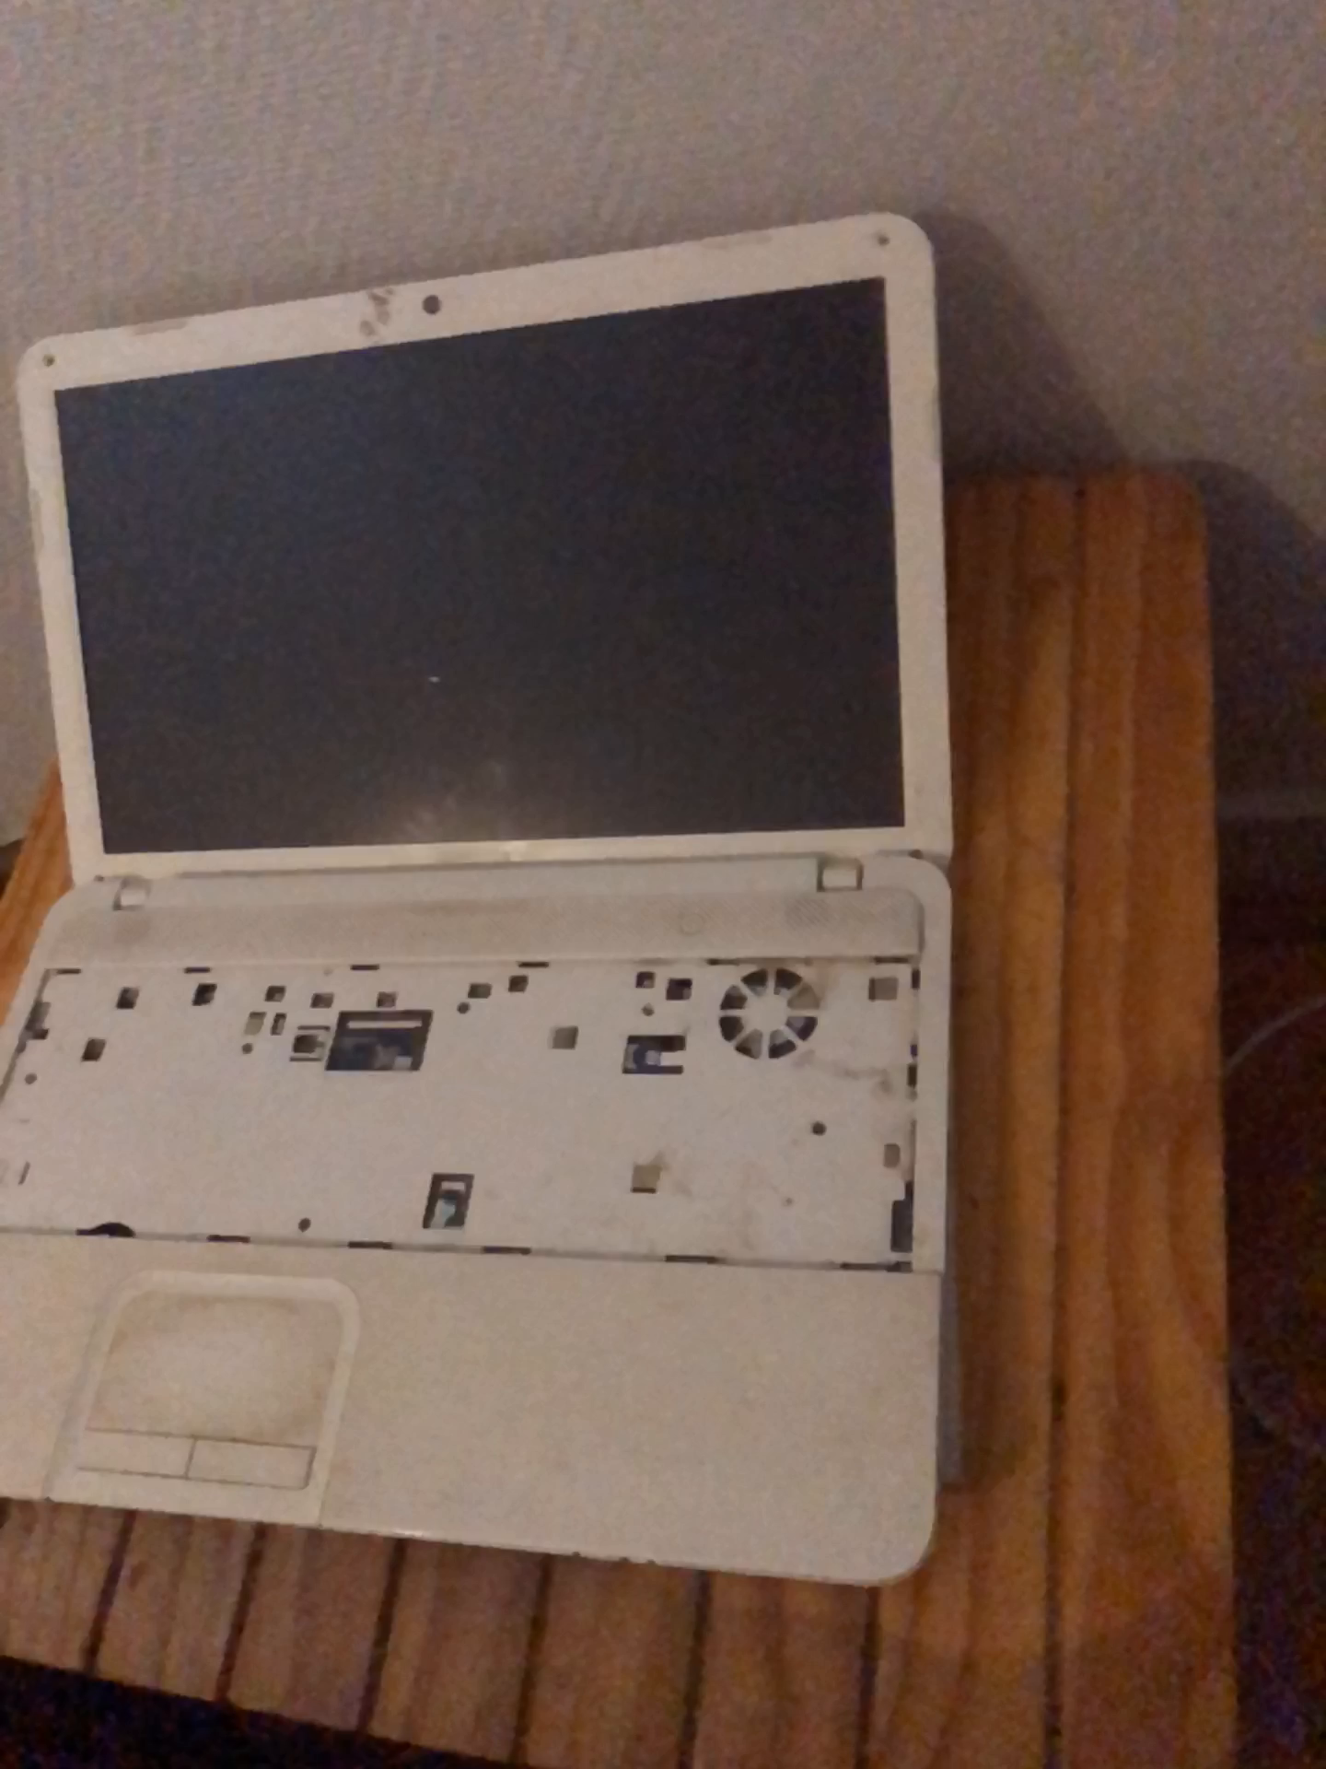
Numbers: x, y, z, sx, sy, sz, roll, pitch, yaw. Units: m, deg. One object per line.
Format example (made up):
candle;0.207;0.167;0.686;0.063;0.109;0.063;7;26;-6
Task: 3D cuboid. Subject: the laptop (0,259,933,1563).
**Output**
laptop;-0.101;-0.011;0.517;0.371;0.118;0.419;-2;58;16
